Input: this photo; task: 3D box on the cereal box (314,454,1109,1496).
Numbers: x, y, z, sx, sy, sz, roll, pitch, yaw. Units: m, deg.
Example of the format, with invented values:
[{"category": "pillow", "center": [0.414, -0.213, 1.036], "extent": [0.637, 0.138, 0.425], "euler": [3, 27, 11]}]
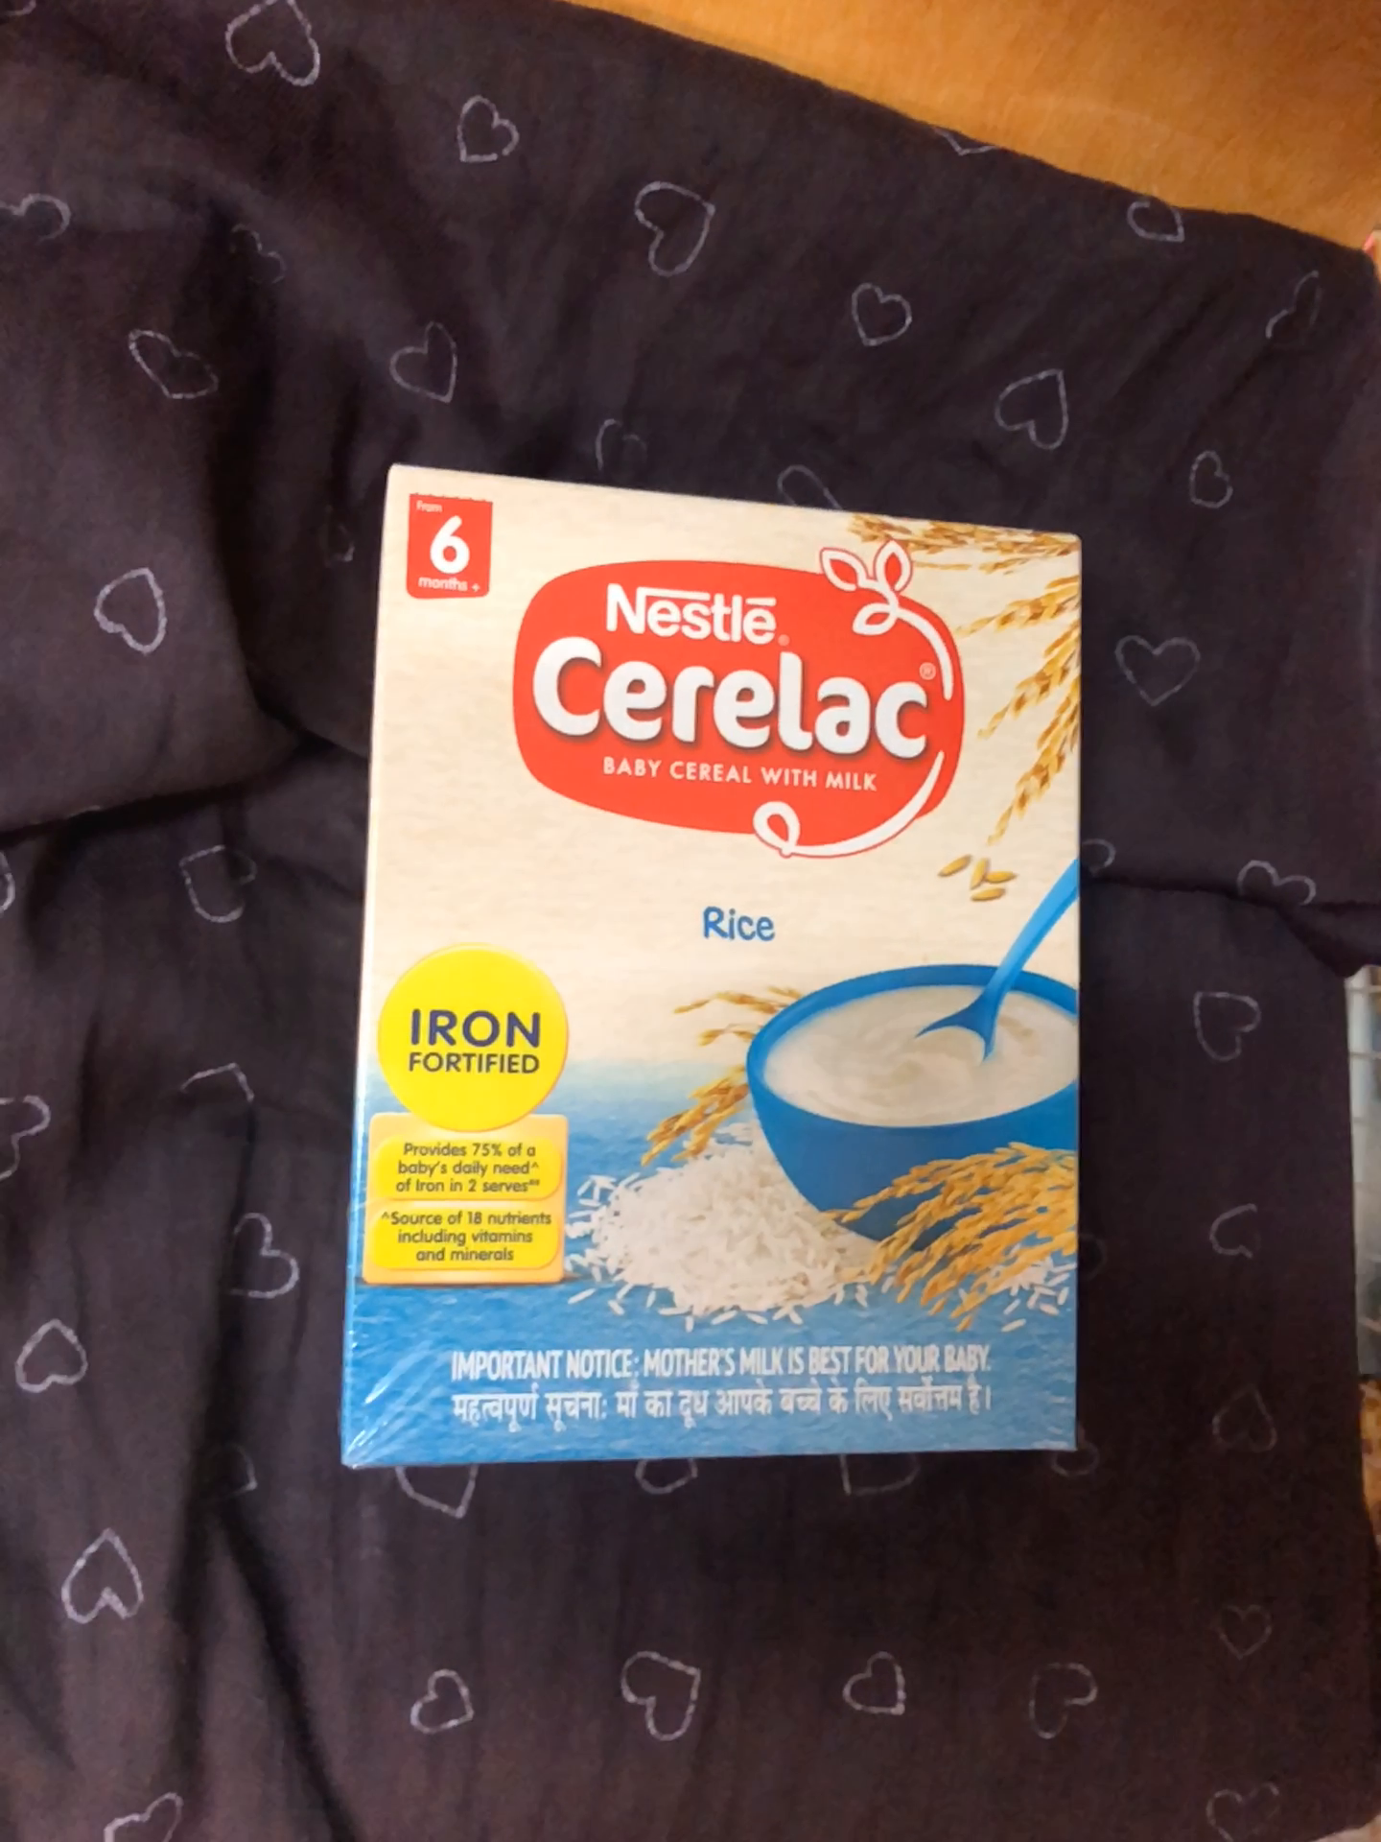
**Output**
[{"category": "cereal box", "center": [0.003, 0.014, 0.346], "extent": [0.160, 0.070, 0.200], "euler": [3, 85, -12]}]
